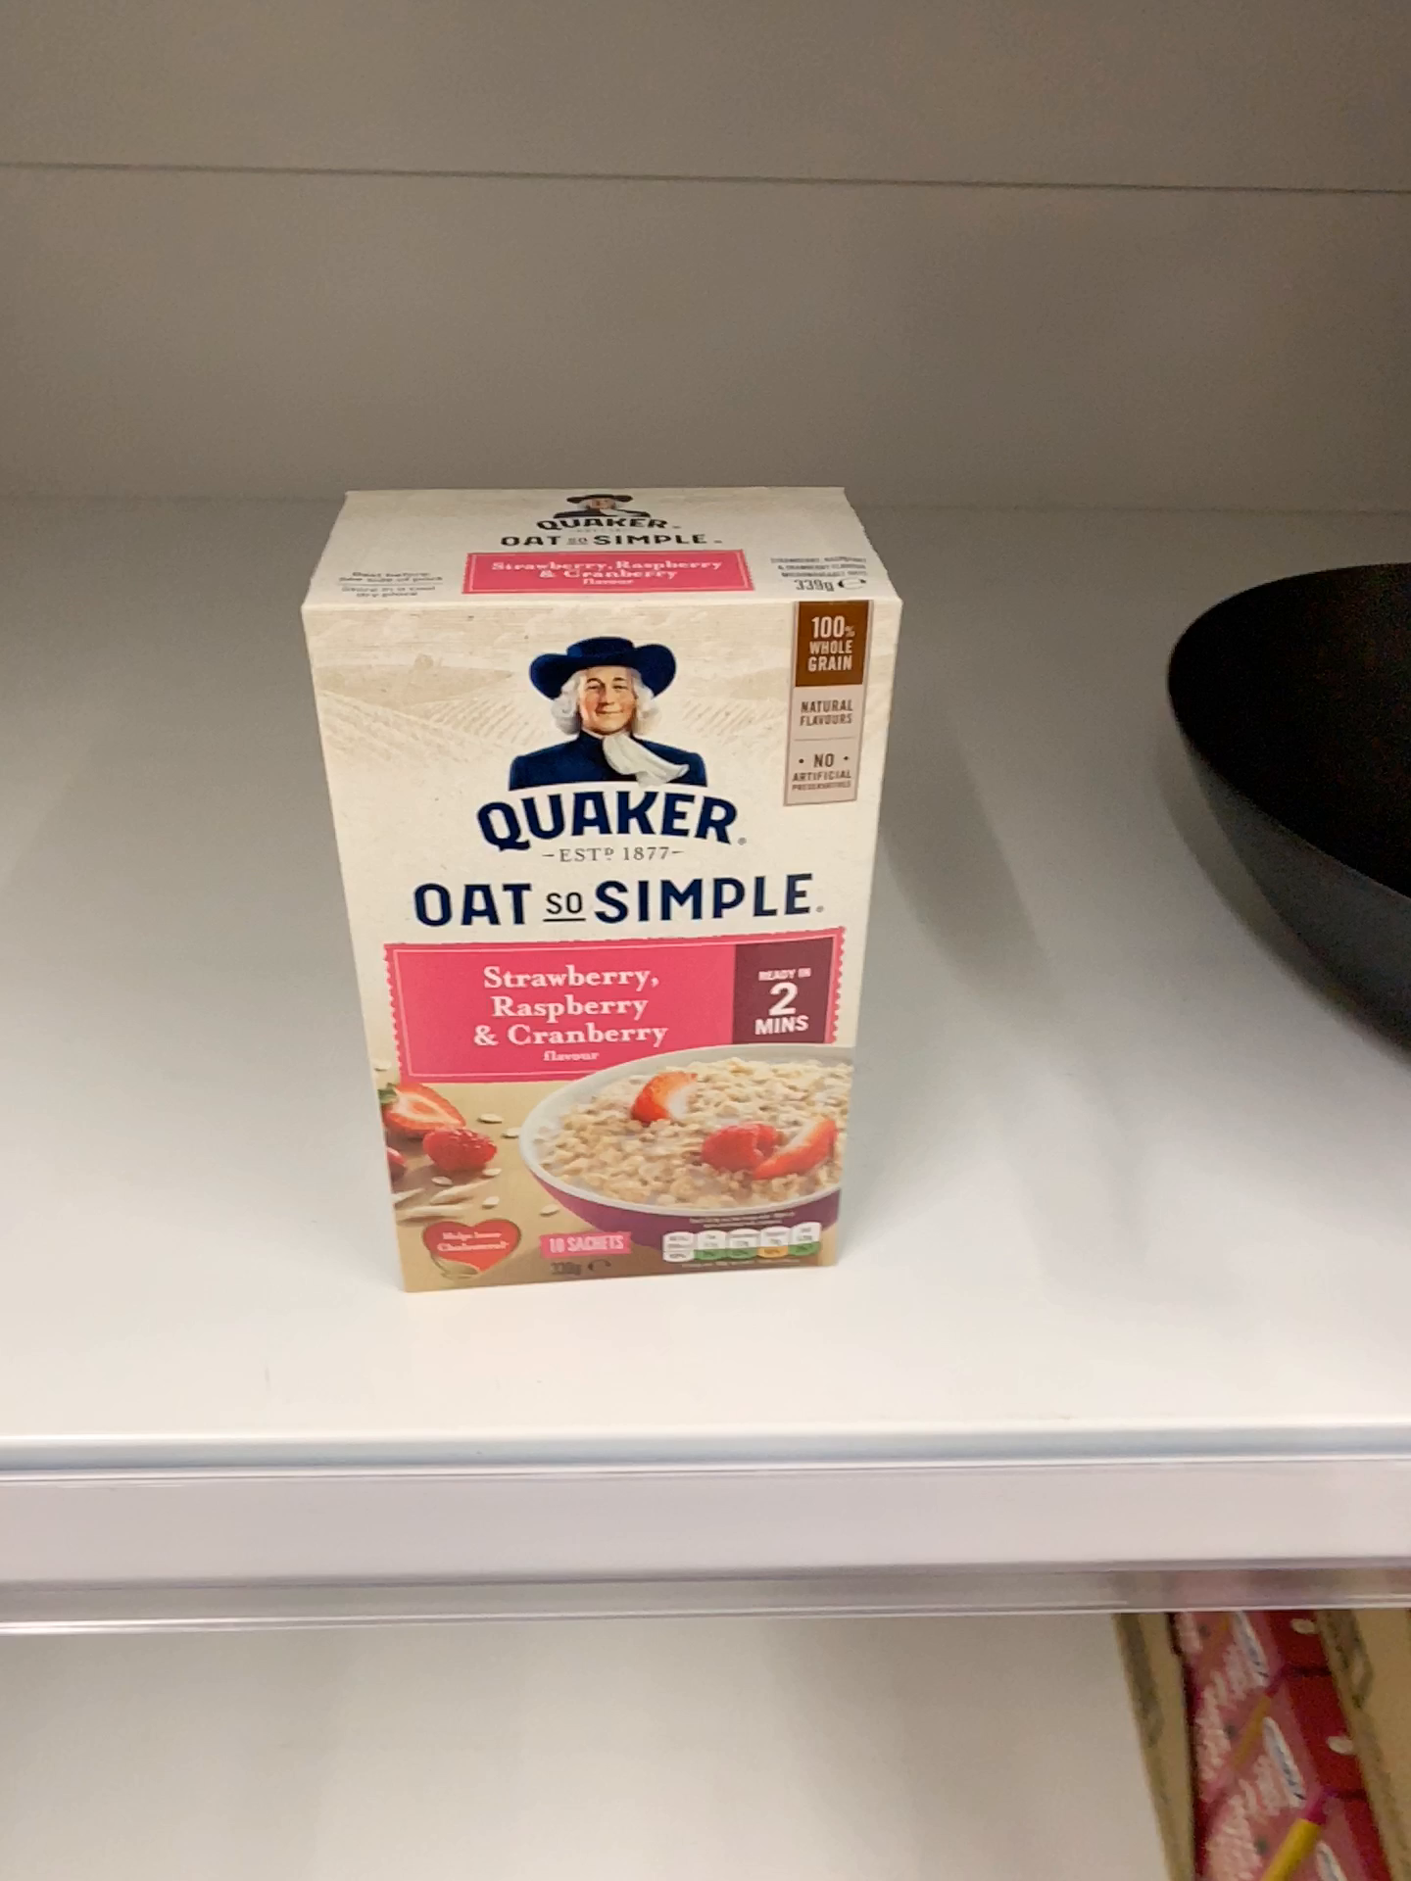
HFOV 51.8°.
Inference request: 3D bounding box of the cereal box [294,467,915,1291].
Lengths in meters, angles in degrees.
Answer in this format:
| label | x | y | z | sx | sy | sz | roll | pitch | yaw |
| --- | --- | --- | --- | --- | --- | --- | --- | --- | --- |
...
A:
| label | x | y | z | sx | sy | sz | roll | pitch | yaw |
| --- | --- | --- | --- | --- | --- | --- | --- | --- | --- |
| cereal box | -0.026 | -0.011 | 0.396 | 0.130 | 0.208 | 0.081 | -3 | 35 | -6 |
